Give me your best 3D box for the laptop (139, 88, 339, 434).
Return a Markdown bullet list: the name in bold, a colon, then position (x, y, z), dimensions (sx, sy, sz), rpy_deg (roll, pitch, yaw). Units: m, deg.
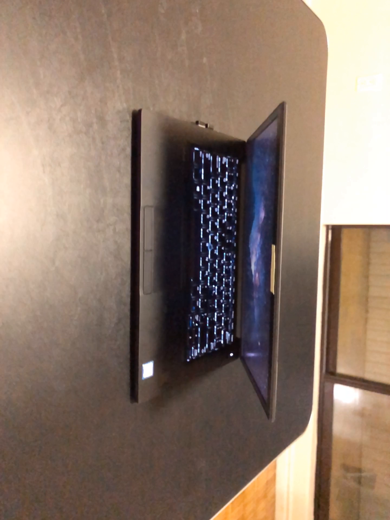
- **laptop**: position (0.063, -0.008, 0.526), dimensions (0.221, 0.142, 0.318), rpy_deg (-5, 97, -54)
